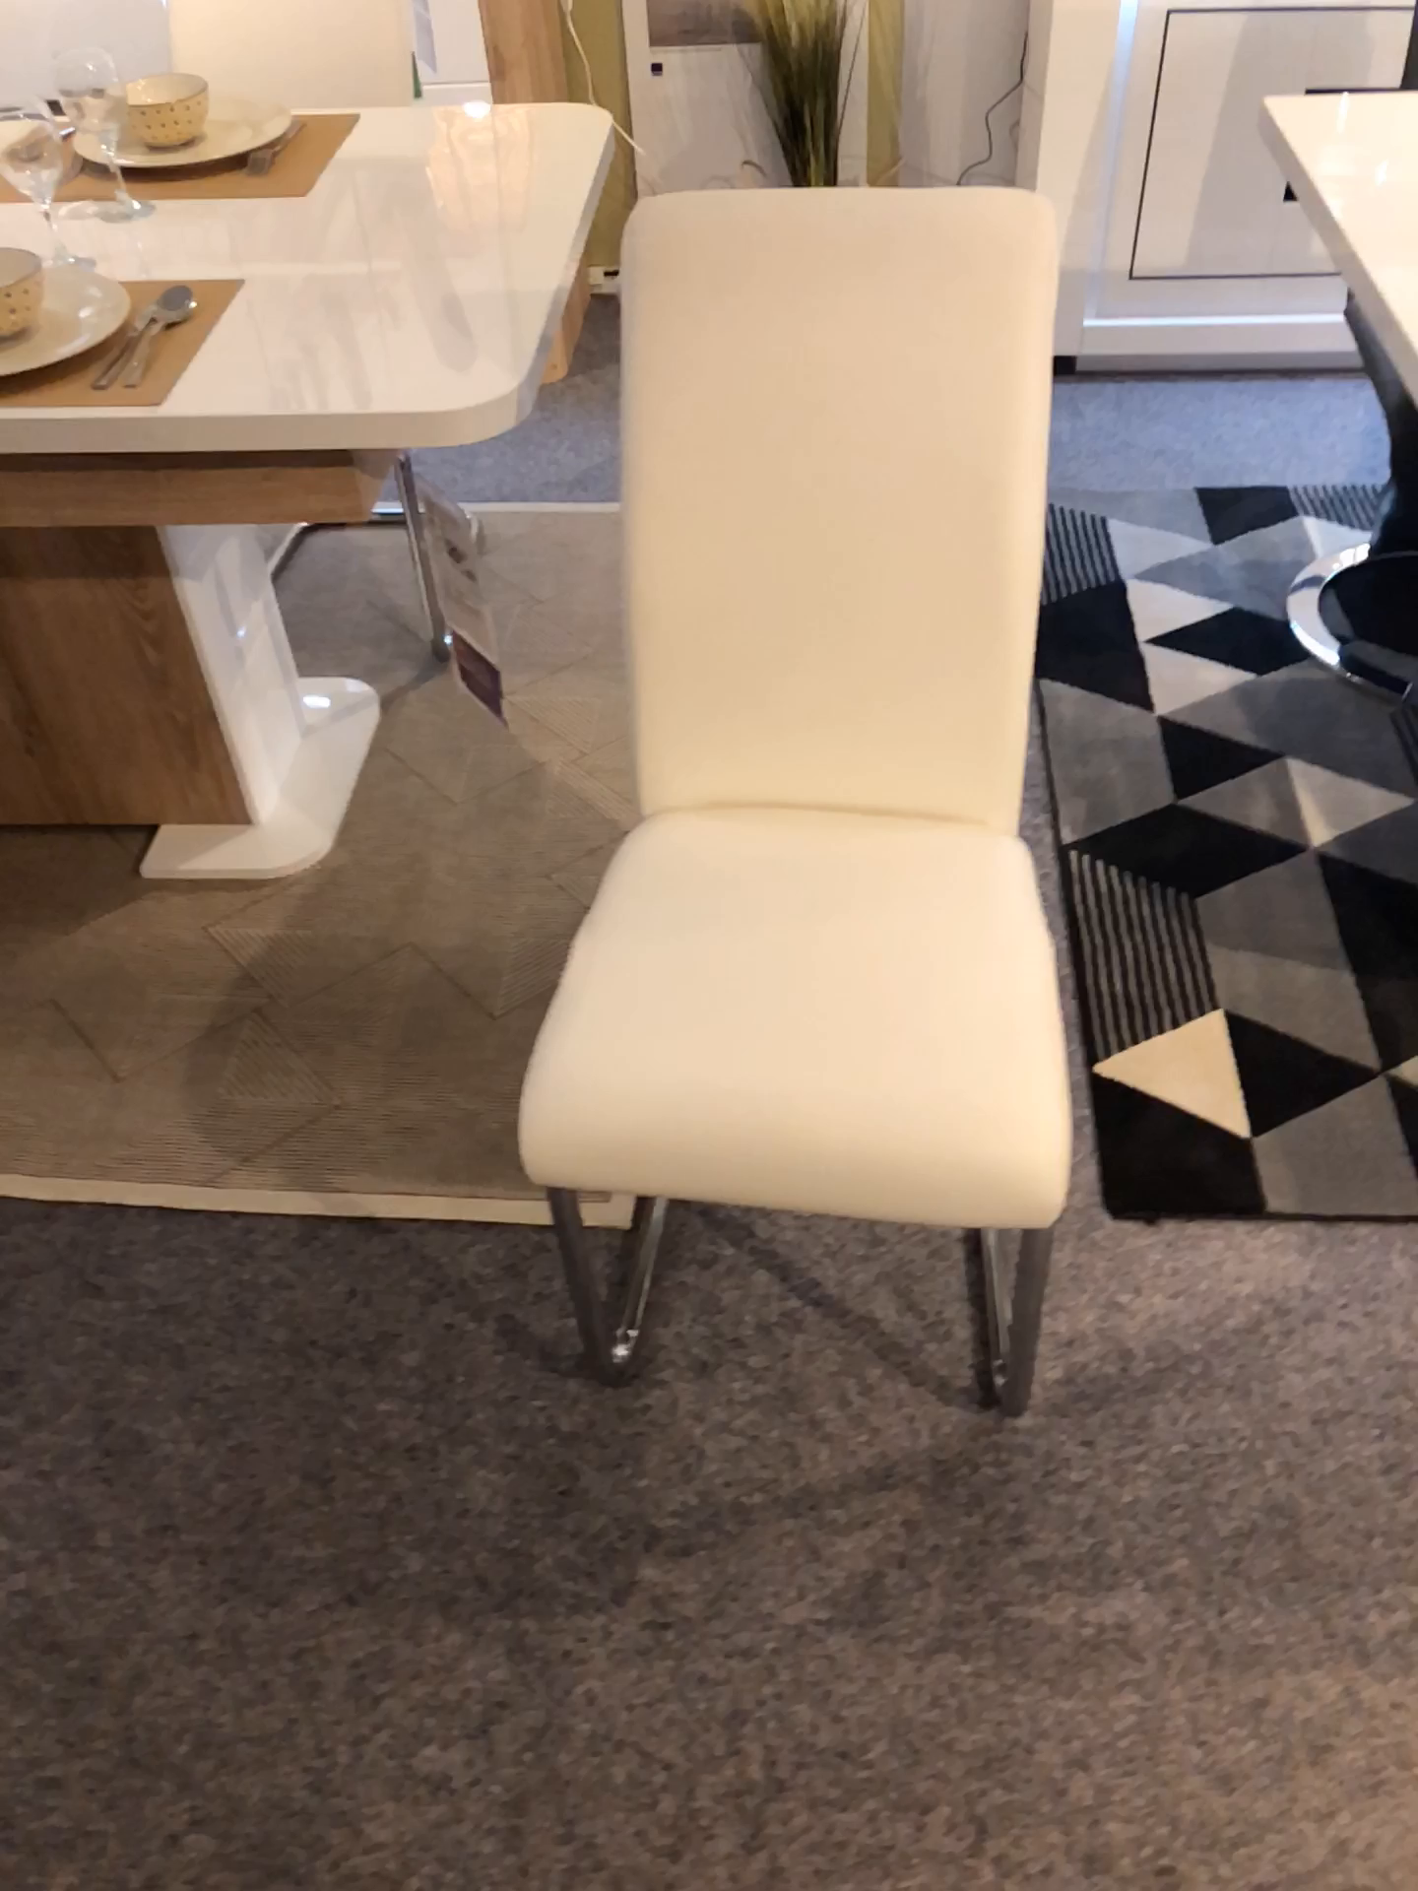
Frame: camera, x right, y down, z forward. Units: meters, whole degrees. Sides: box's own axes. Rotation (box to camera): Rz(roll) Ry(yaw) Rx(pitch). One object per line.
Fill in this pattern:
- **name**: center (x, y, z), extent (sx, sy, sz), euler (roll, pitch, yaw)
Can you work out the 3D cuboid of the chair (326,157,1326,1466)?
- **chair**: center (0.099, -0.065, 1.294), extent (0.500, 0.925, 0.553), euler (1, 44, 5)
